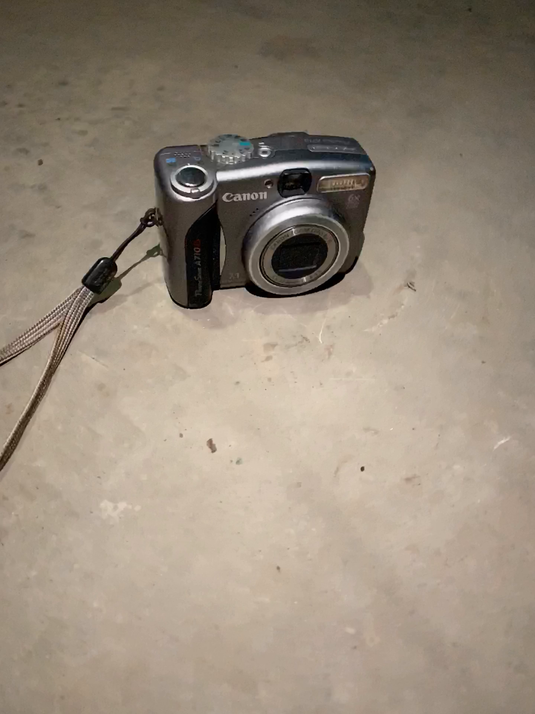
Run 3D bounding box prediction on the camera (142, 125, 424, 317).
[{"bbox_3d":[0.003,-0.063,0.252,0.108,0.060,0.048,-9,50,-14],"label":"camera"}]
